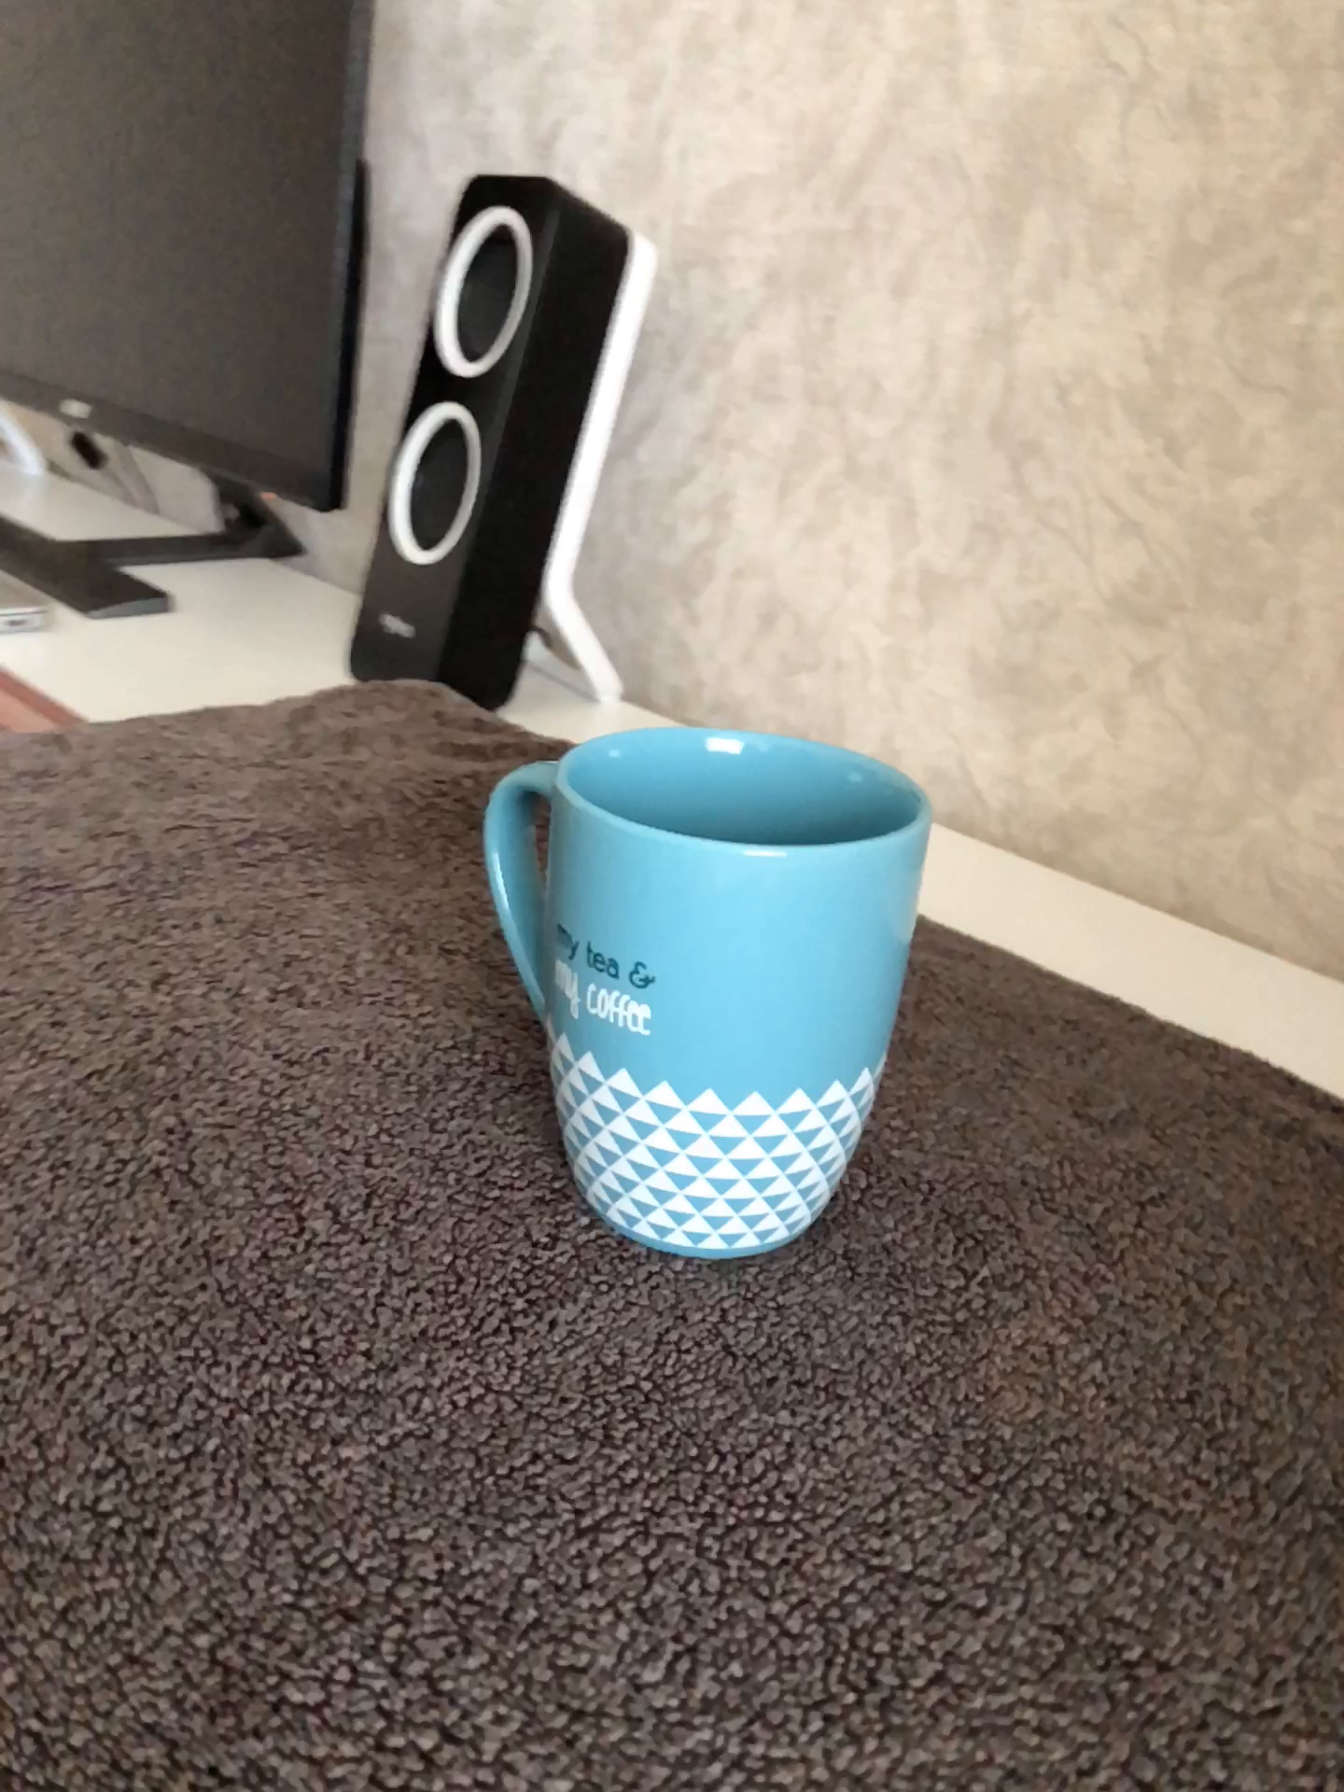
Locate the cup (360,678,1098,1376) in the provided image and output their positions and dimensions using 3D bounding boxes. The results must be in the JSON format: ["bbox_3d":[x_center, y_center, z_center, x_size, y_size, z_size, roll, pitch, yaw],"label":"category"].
[{"bbox_3d":[0.007,0.017,0.325,0.126,0.090,0.087,23,28,35],"label":"cup"}]
